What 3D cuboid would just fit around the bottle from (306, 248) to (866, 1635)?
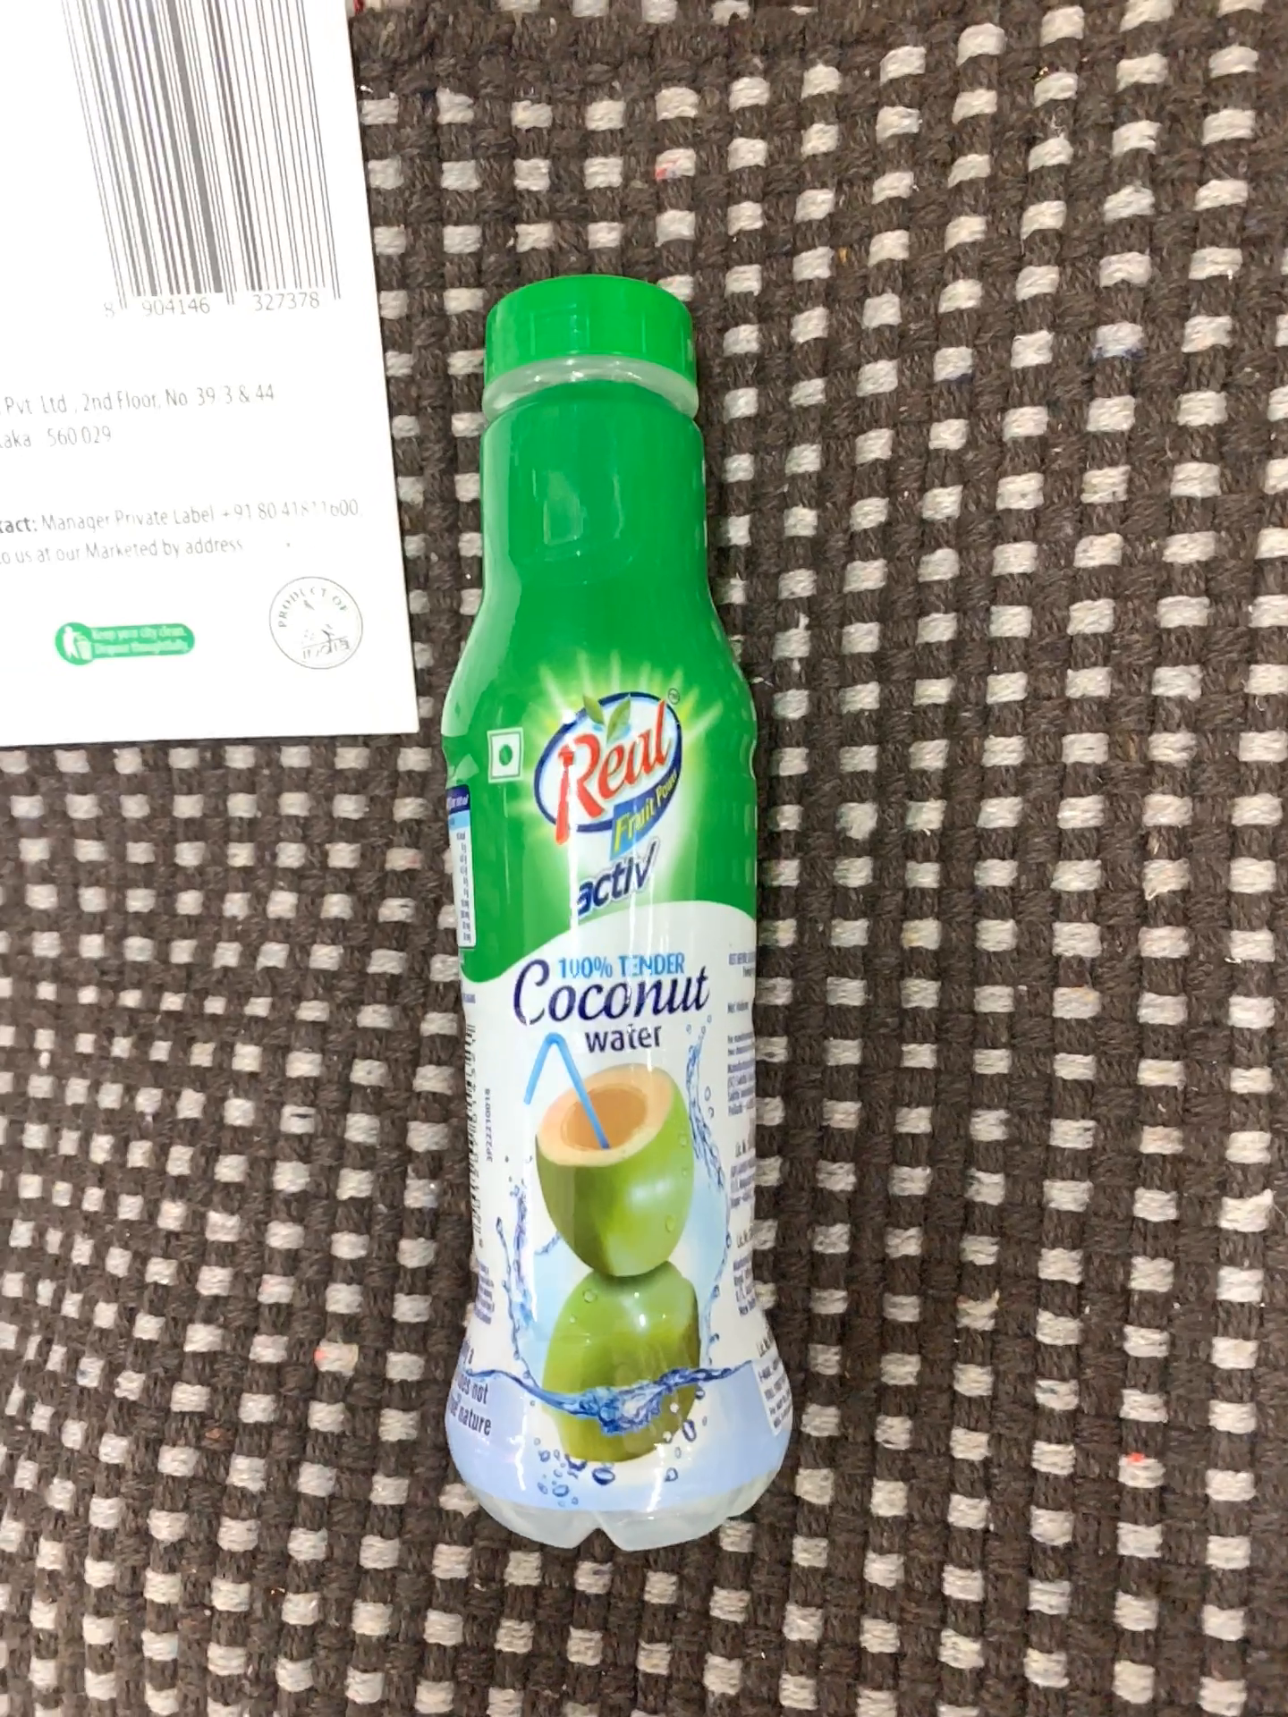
[{"bbox_3d":[-0.005,0.013,0.185,0.060,0.040,0.170,-3,95,3],"label":"bottle"}]
